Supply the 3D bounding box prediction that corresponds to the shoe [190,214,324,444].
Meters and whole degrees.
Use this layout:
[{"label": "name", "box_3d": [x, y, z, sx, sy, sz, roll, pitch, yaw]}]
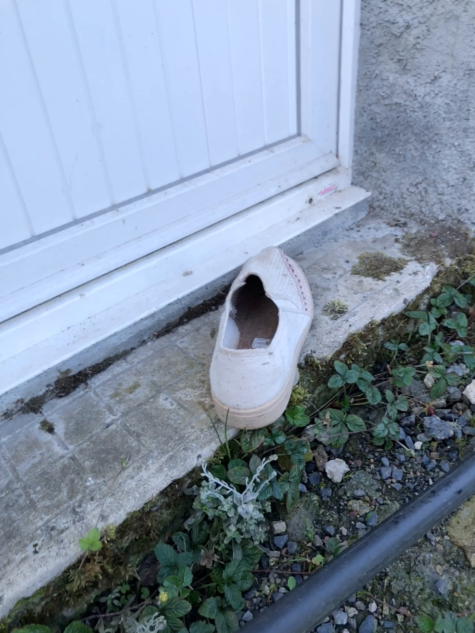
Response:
[{"label": "shoe", "box_3d": [0.036, -0.008, 0.544, 0.100, 0.080, 0.282, 2, 37, 10]}]
